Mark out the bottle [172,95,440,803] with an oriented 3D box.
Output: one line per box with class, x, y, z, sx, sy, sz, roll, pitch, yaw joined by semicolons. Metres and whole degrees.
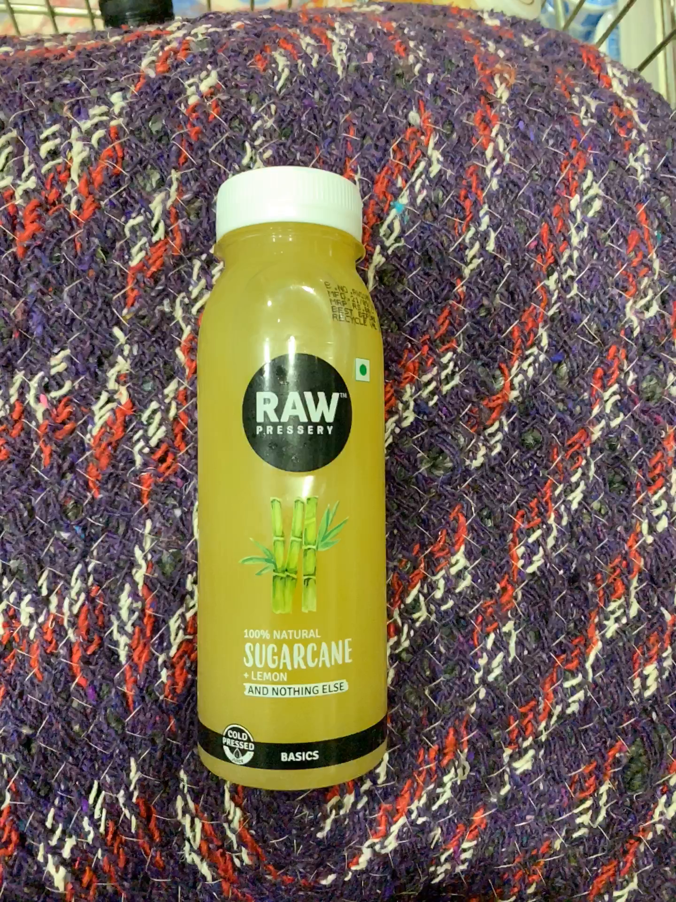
bottle;-0.009;-0.001;0.187;0.060;0.050;0.160;-1;89;-6
